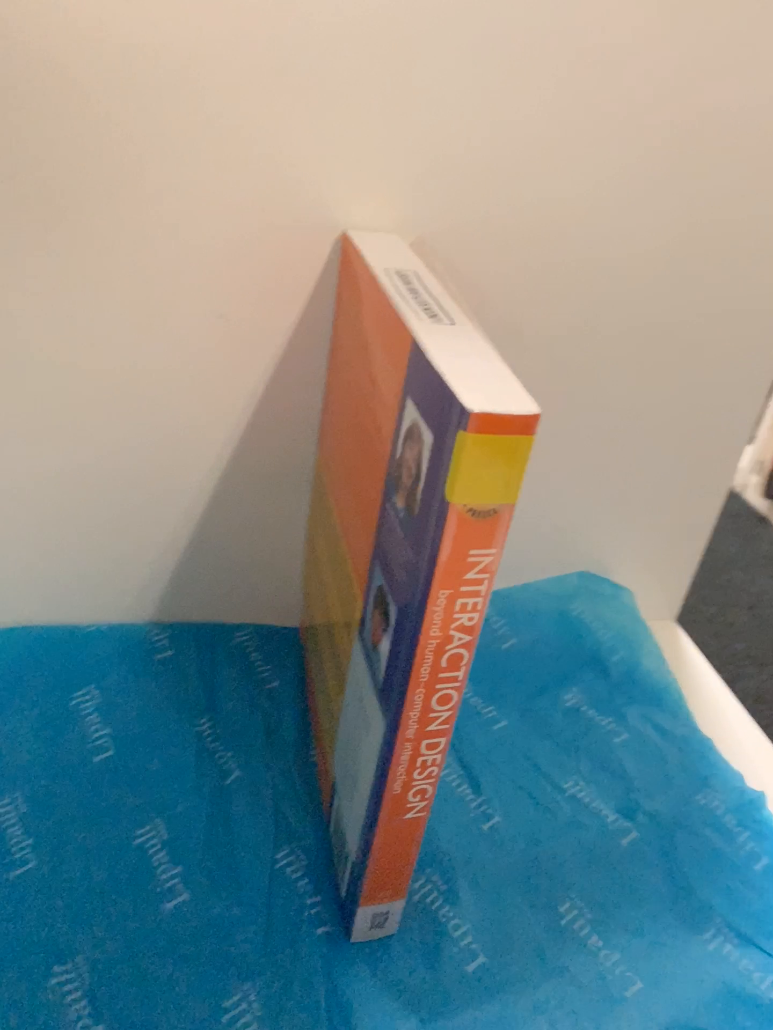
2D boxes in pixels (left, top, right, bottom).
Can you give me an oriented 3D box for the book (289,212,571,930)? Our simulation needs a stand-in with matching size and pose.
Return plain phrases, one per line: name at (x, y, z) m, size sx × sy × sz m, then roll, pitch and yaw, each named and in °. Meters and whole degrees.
book at (-0.005, 0.017, 0.357) m, size 0.030 × 0.247 × 0.196 m, roll 1°, pitch 32°, yaw -16°
